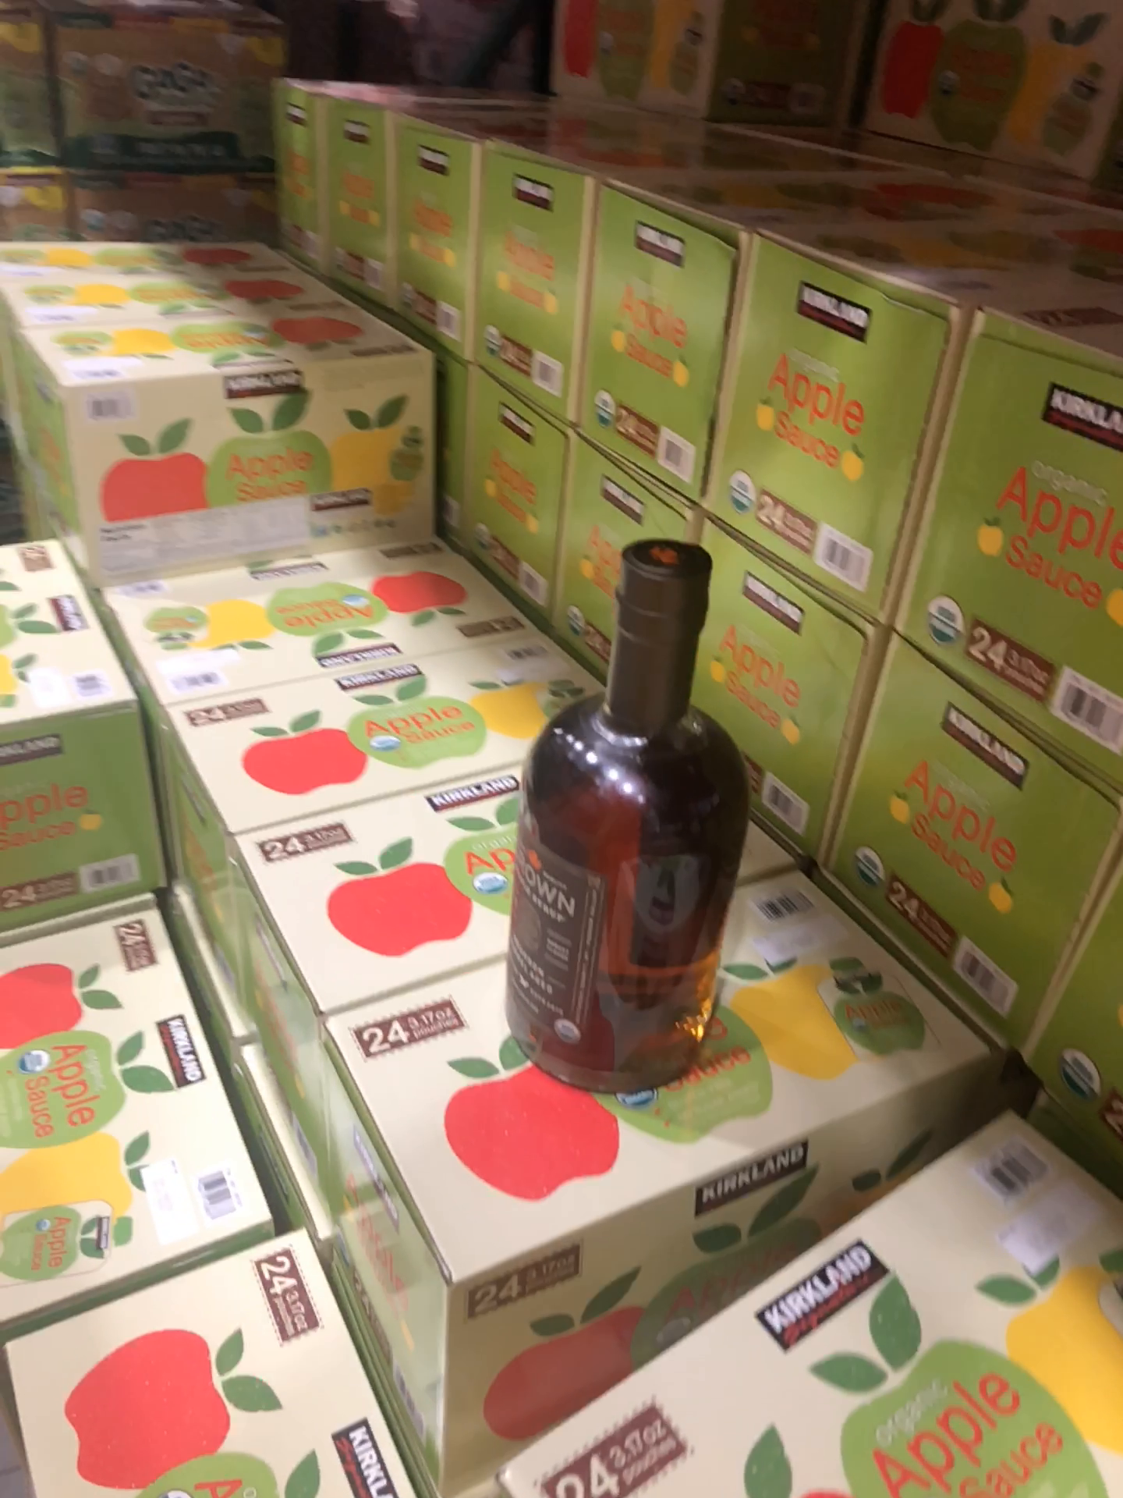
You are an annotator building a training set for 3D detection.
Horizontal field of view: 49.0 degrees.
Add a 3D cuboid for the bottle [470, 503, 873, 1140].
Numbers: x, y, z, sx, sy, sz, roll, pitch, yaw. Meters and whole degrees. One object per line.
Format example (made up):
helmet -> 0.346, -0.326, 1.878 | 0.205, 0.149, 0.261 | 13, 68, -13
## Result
bottle -> 0.032, 0.030, 0.491 | 0.090, 0.219, 0.100 | -15, 38, -29
